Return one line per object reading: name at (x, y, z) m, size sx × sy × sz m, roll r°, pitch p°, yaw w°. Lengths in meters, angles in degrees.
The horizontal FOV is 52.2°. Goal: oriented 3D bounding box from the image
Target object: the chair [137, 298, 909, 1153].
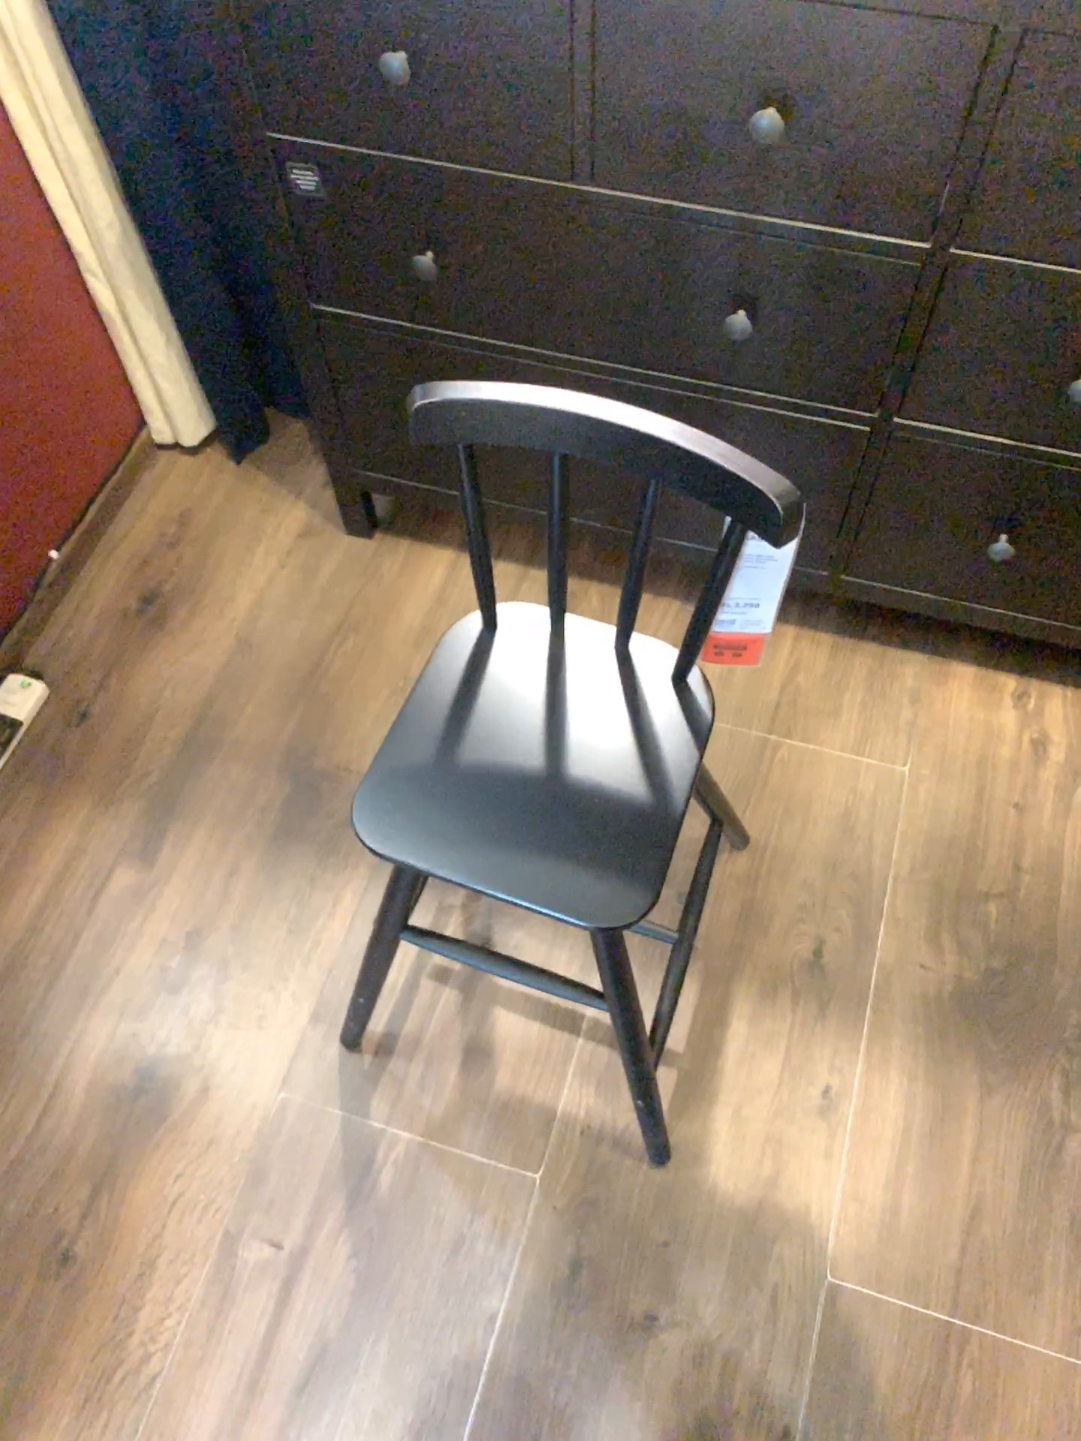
chair at (0.023, 0.089, 1.197) m, size 0.450 × 0.848 × 0.471 m, roll 16°, pitch 62°, yaw 11°
